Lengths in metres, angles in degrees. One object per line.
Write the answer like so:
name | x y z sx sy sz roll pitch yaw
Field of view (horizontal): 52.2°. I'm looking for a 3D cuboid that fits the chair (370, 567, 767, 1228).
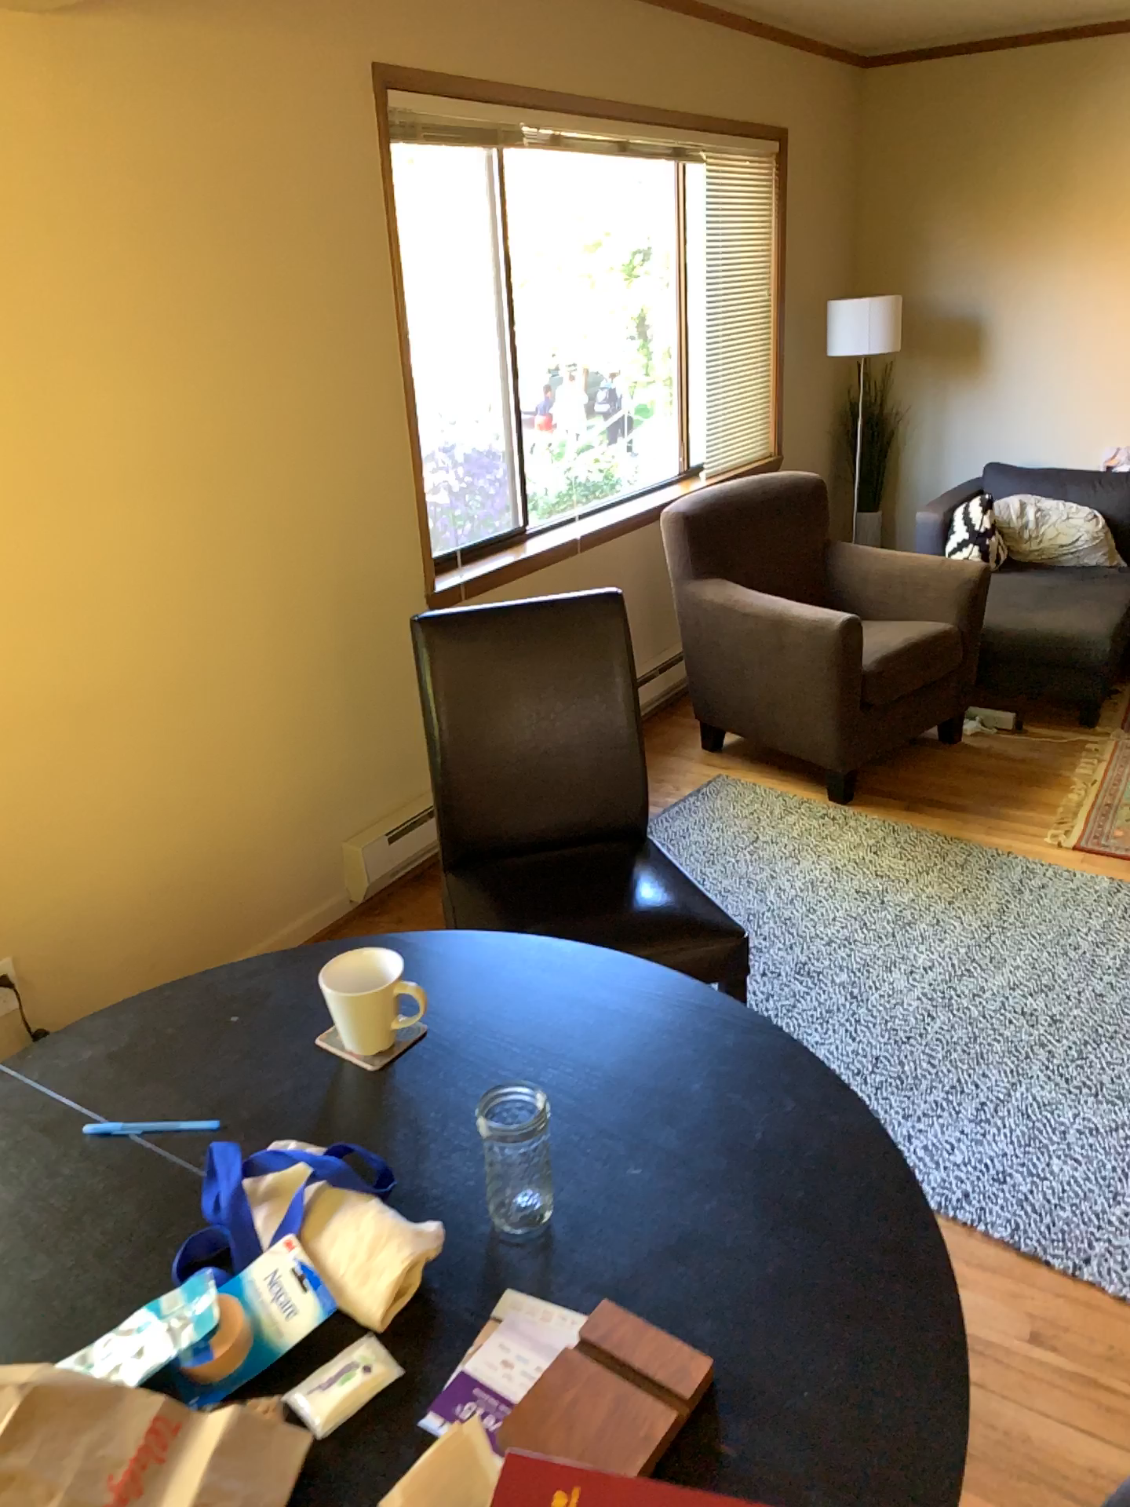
chair | -0.006 0.238 2.316 0.560 1.035 0.674 -9 23 -14
